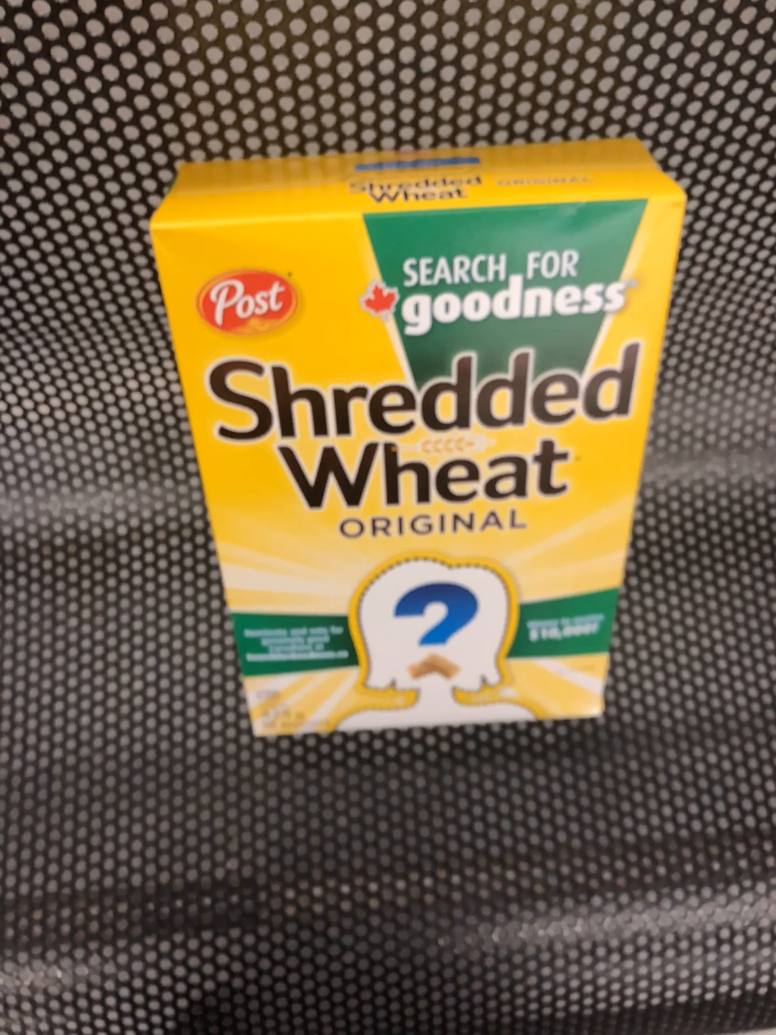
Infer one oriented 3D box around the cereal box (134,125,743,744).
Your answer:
[{"bbox_3d":[0.022,-0.022,0.419,0.210,0.279,0.090,-4,38,-1],"label":"cereal box"}]
